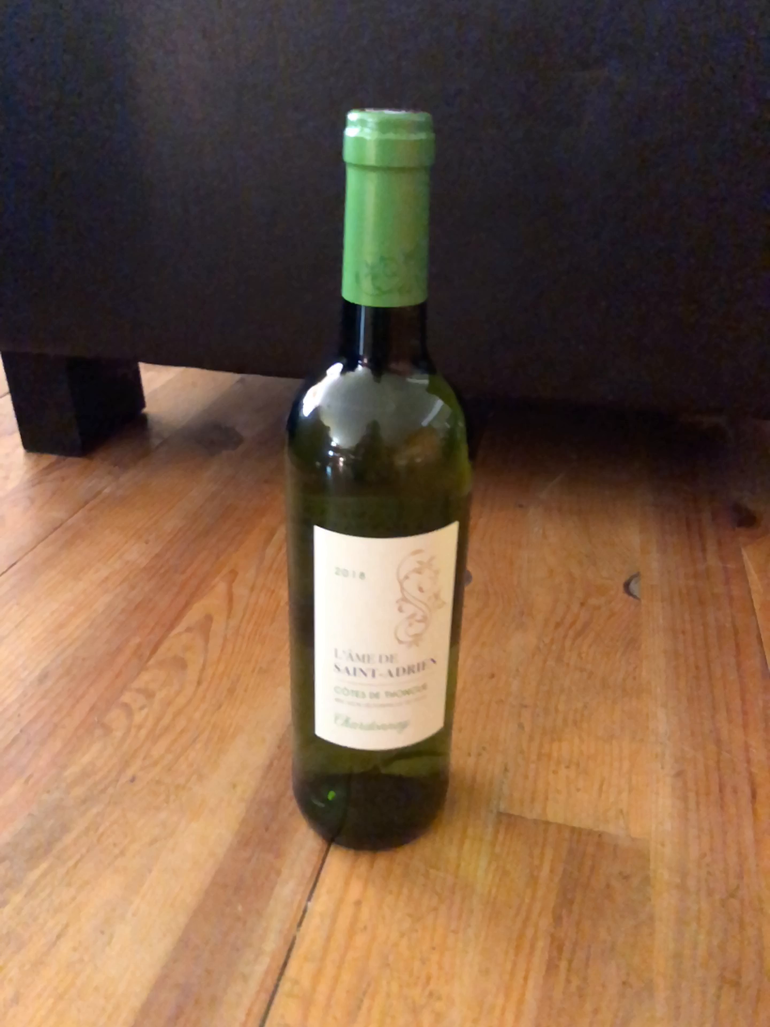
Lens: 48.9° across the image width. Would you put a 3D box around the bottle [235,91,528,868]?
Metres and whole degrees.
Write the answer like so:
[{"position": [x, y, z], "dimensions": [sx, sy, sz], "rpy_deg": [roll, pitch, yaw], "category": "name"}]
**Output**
[{"position": [-0.004, 0.001, 0.335], "dimensions": [0.080, 0.298, 0.080], "rpy_deg": [1, 28, 0], "category": "bottle"}]
